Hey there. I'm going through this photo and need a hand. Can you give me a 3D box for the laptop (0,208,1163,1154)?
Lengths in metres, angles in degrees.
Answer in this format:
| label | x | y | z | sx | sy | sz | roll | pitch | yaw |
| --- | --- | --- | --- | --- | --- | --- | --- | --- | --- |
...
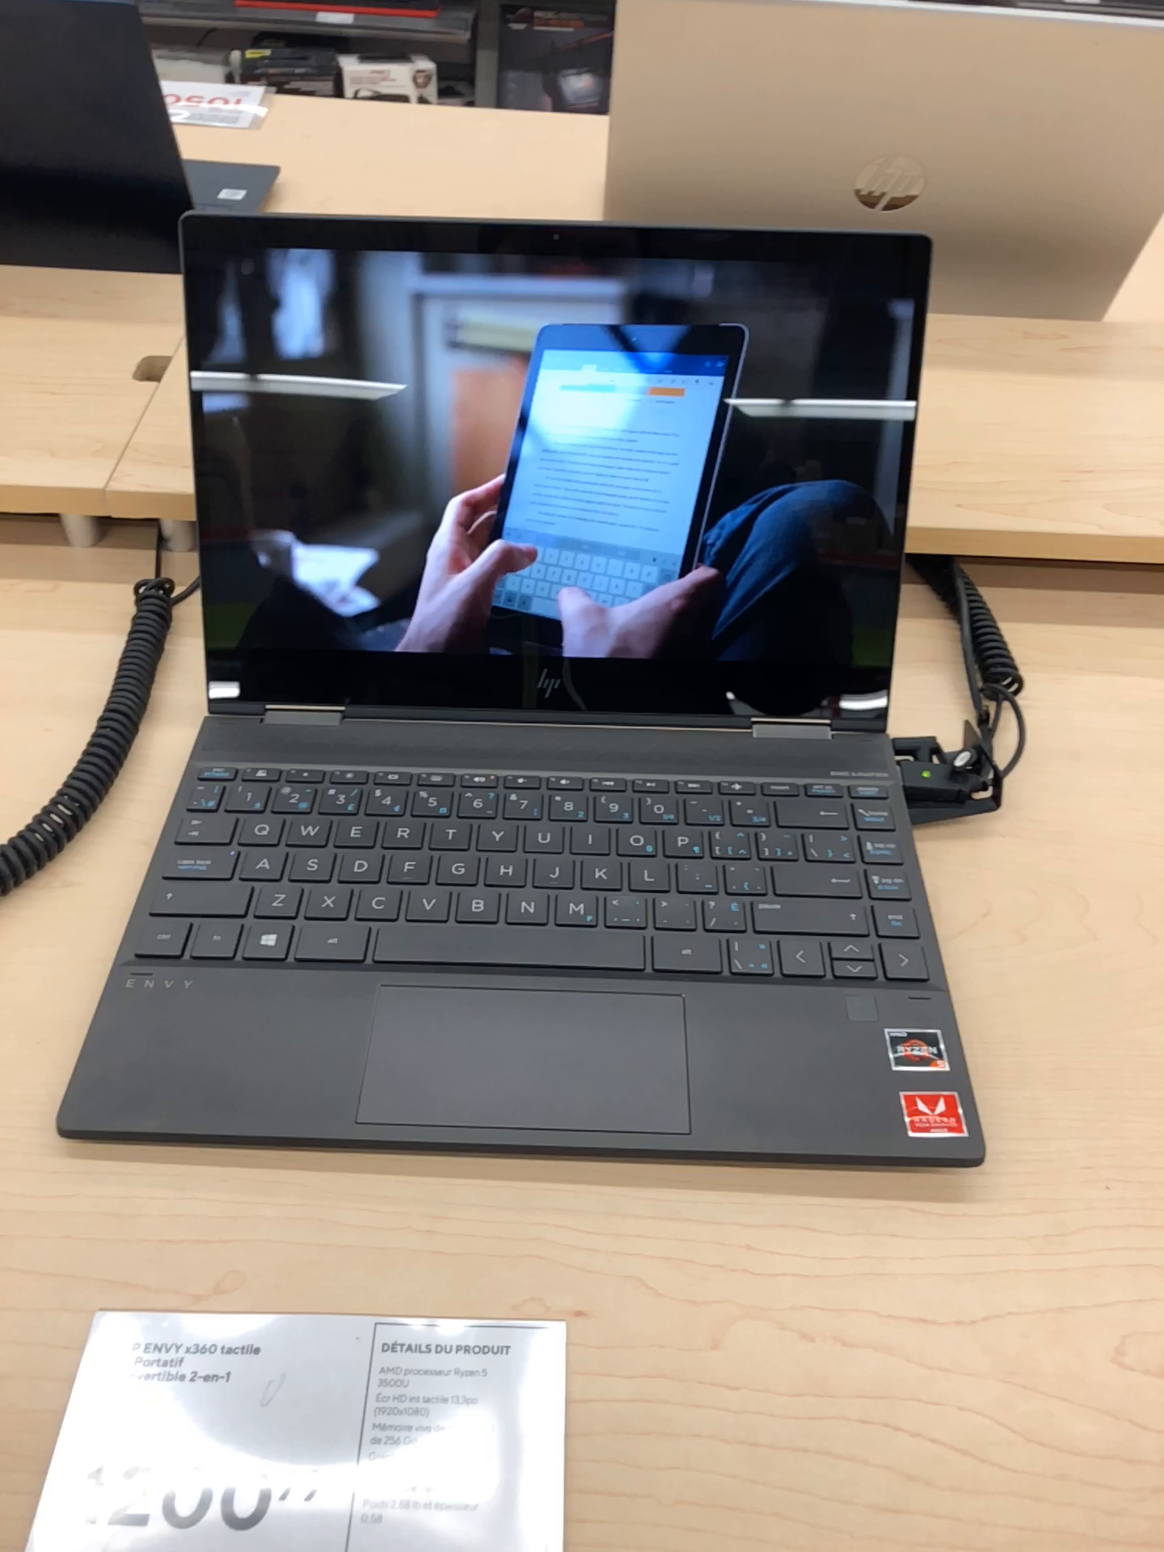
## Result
| label | x | y | z | sx | sy | sz | roll | pitch | yaw |
| --- | --- | --- | --- | --- | --- | --- | --- | --- | --- |
| laptop | -0.012 | -0.048 | 0.459 | 0.294 | 0.182 | 0.289 | 2 | 44 | -2 |
